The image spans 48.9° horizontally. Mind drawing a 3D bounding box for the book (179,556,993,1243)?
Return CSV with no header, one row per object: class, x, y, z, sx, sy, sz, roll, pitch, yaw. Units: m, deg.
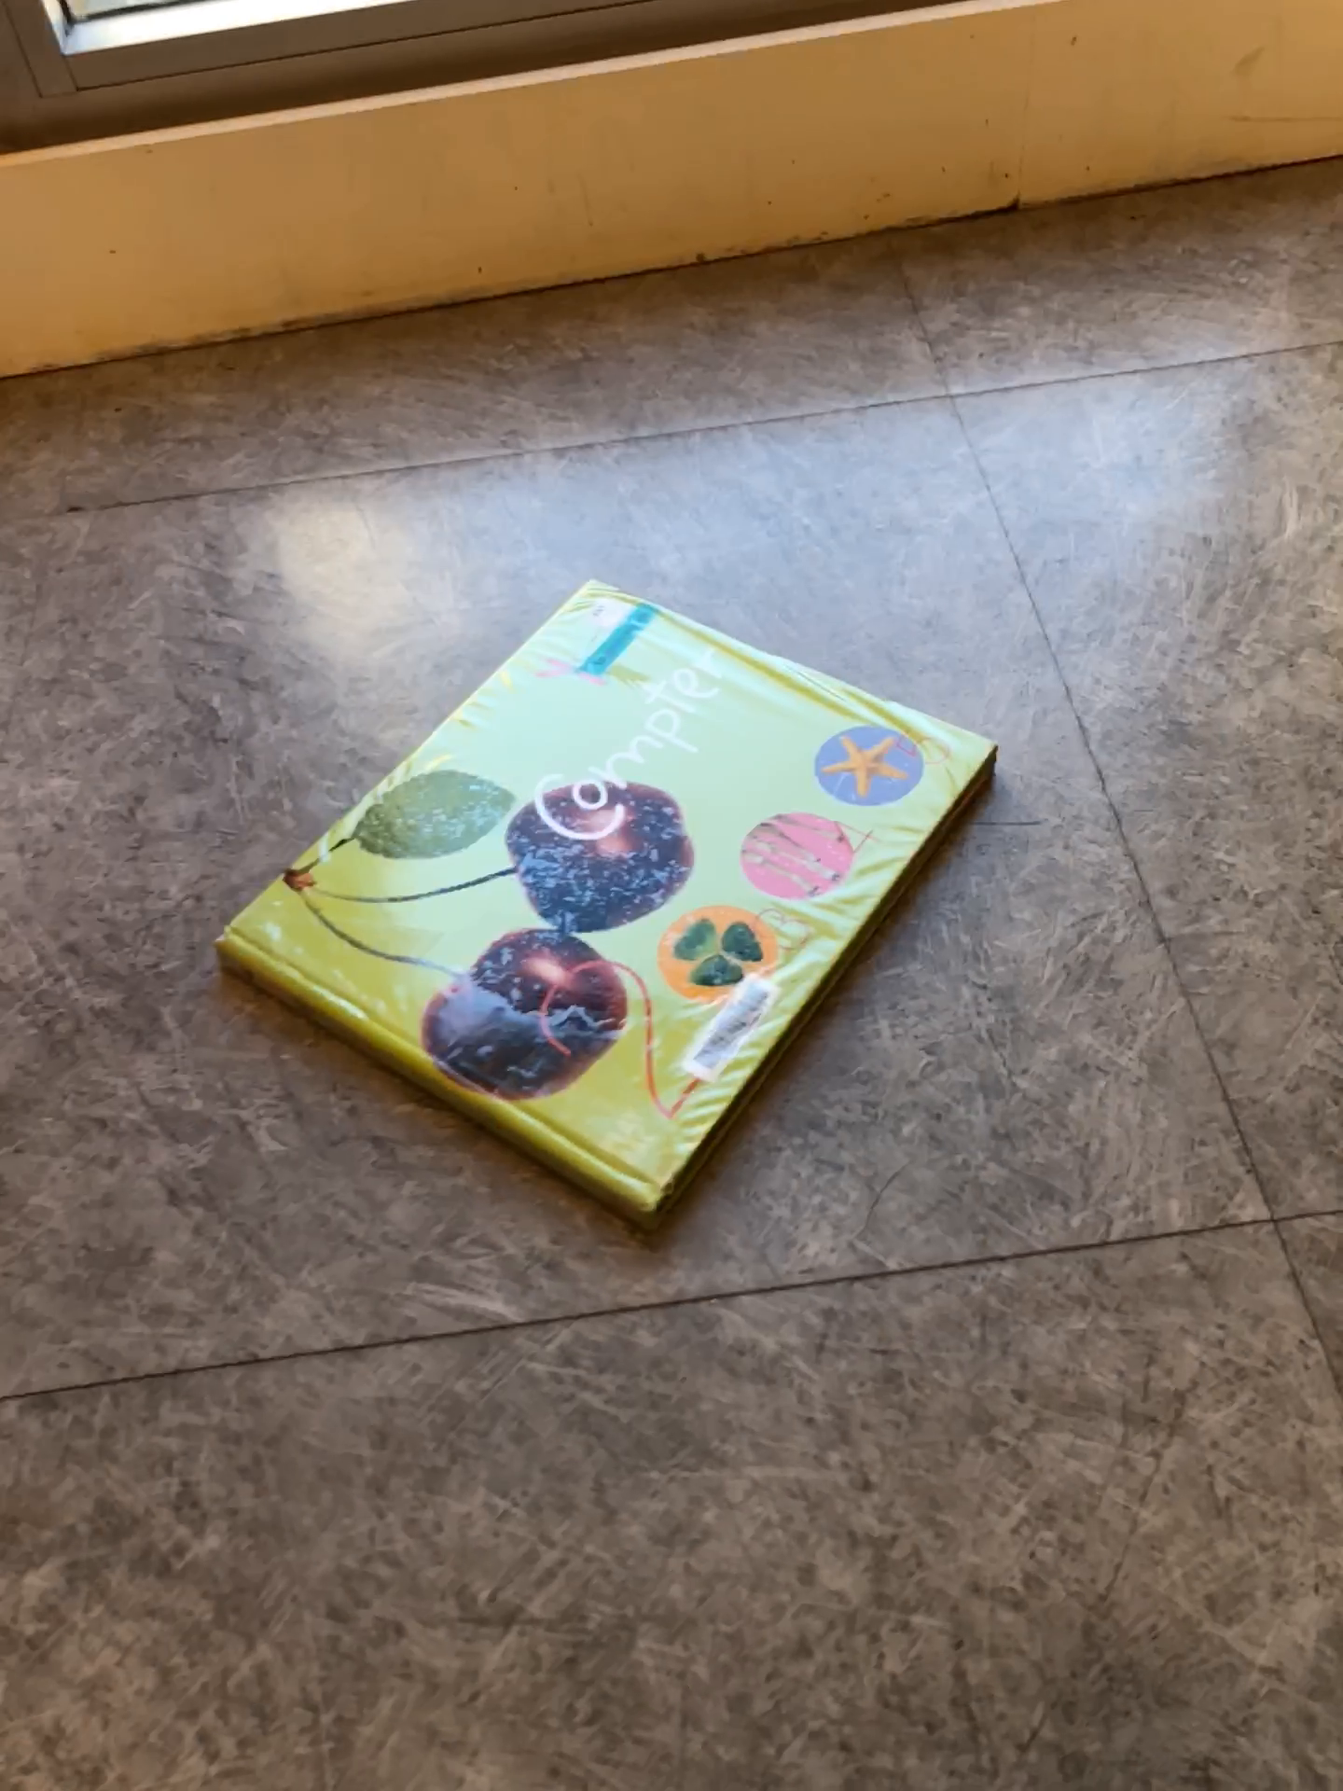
book,-0.029,-0.020,0.606,0.222,0.021,0.256,28,59,22
